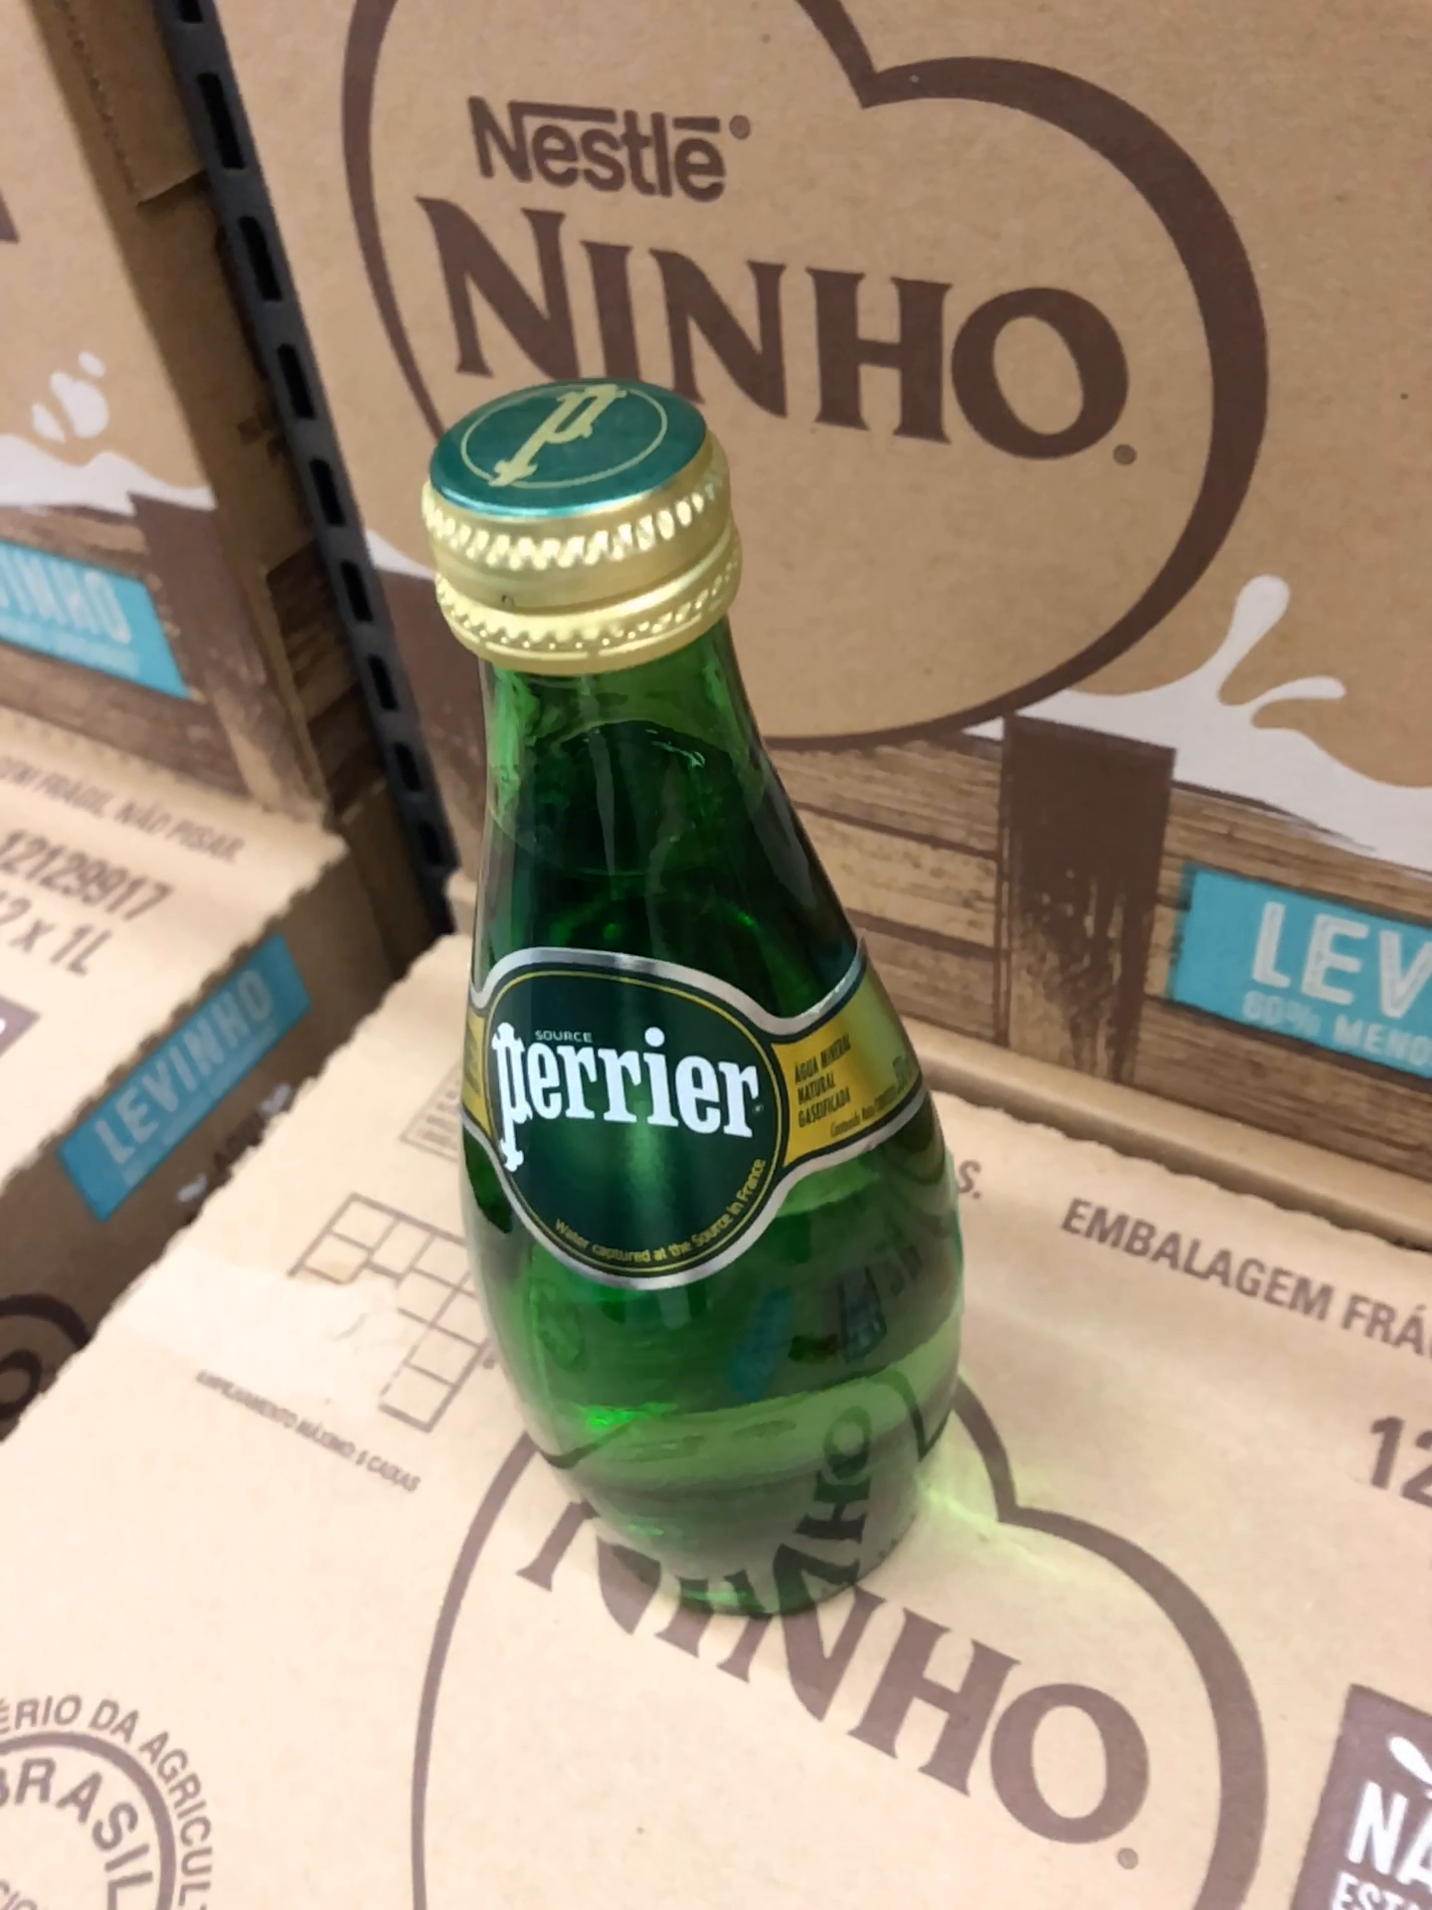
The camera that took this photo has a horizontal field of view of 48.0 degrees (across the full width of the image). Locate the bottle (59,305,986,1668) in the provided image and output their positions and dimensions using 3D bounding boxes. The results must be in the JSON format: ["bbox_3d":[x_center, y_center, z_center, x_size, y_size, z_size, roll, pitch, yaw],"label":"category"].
[{"bbox_3d":[-0.003,0.021,0.203,0.070,0.179,0.060,2,46,10],"label":"bottle"}]
